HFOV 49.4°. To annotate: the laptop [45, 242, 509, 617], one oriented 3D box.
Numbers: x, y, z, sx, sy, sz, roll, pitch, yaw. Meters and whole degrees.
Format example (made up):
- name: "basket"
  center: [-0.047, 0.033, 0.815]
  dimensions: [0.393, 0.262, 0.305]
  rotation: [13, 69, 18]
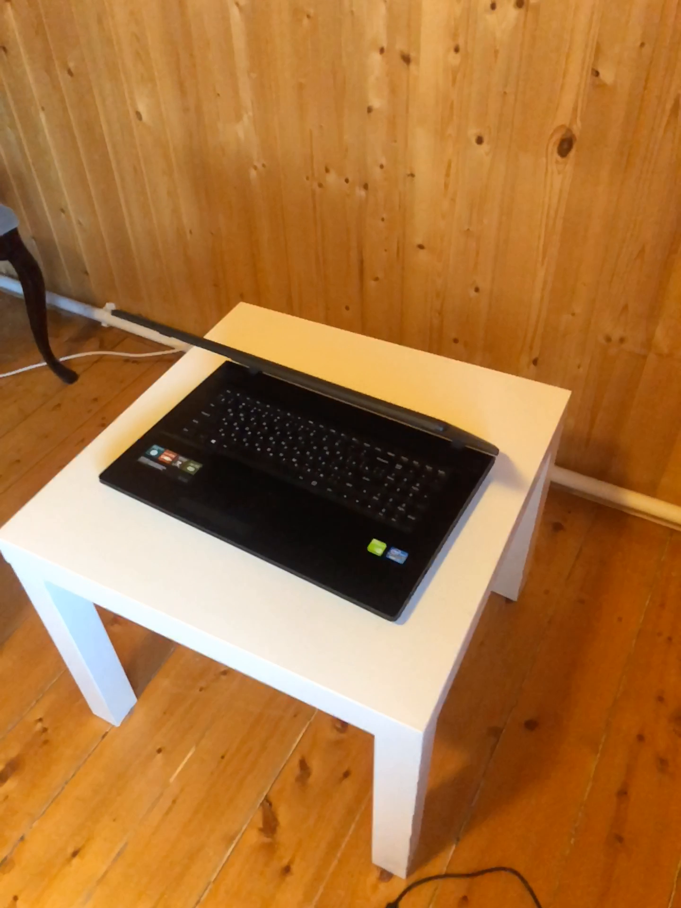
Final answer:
- name: "laptop"
  center: [-0.062, -0.048, 0.829]
  dimensions: [0.401, 0.183, 0.252]
  rotation: [21, 49, 21]
